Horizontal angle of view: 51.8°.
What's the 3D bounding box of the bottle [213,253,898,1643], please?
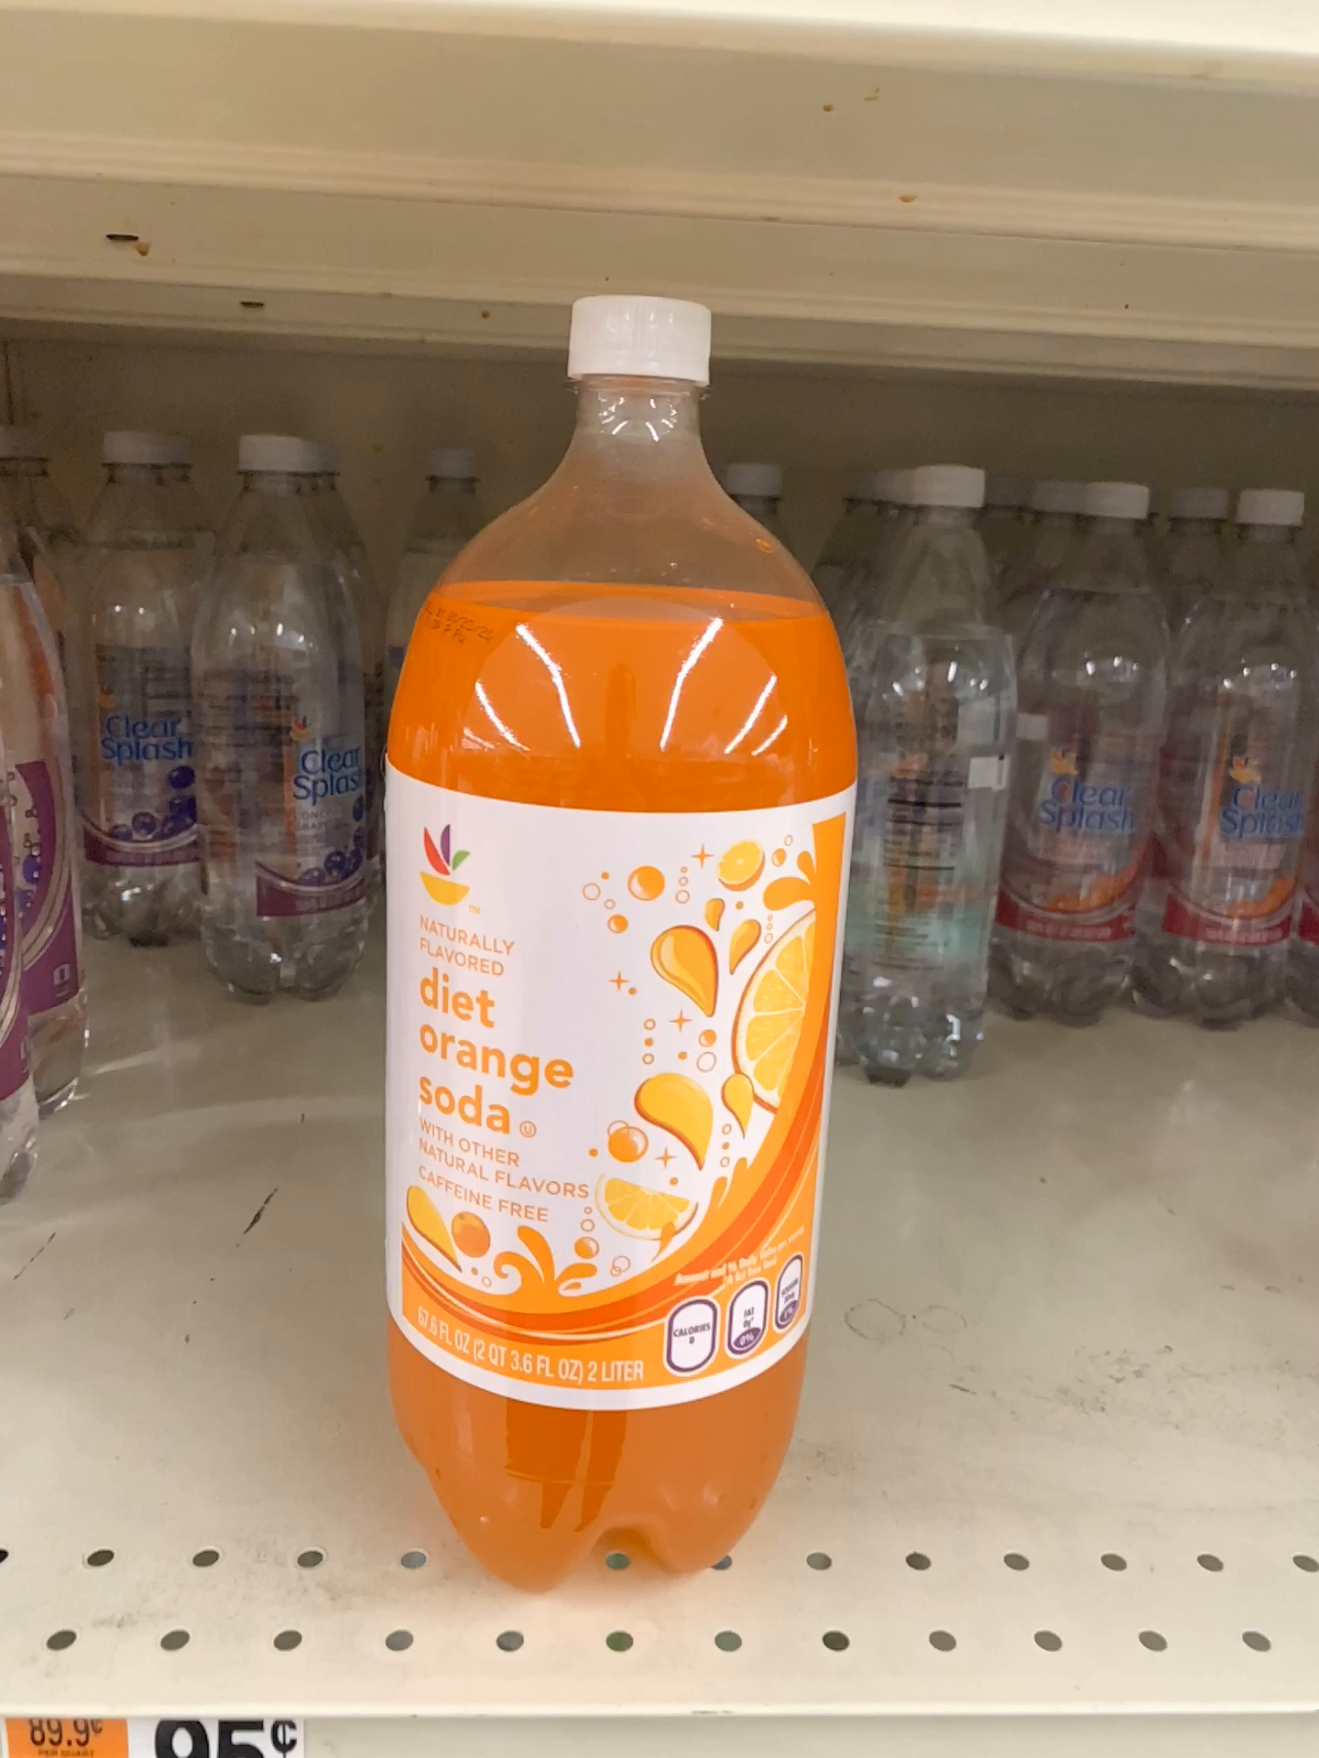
[{"bbox_3d":[-0.020,0.016,0.328,0.120,0.289,0.110,2,17,-1],"label":"bottle"}]
